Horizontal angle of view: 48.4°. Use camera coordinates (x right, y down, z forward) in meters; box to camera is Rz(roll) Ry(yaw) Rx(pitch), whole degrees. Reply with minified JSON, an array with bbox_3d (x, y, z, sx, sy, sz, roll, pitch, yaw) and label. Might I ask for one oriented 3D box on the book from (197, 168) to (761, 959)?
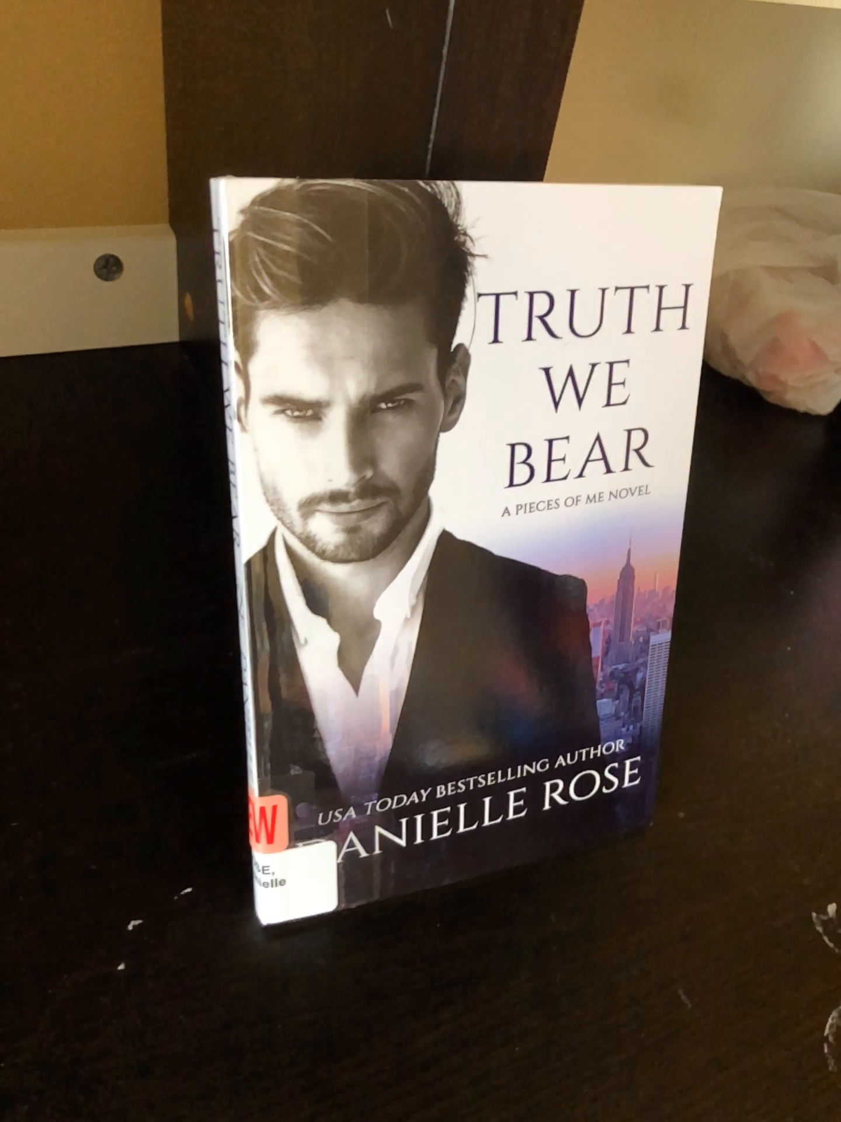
[{"bbox_3d":[0.019,0.004,0.278,0.150,0.220,0.020,-9,25,-23],"label":"book"}]
